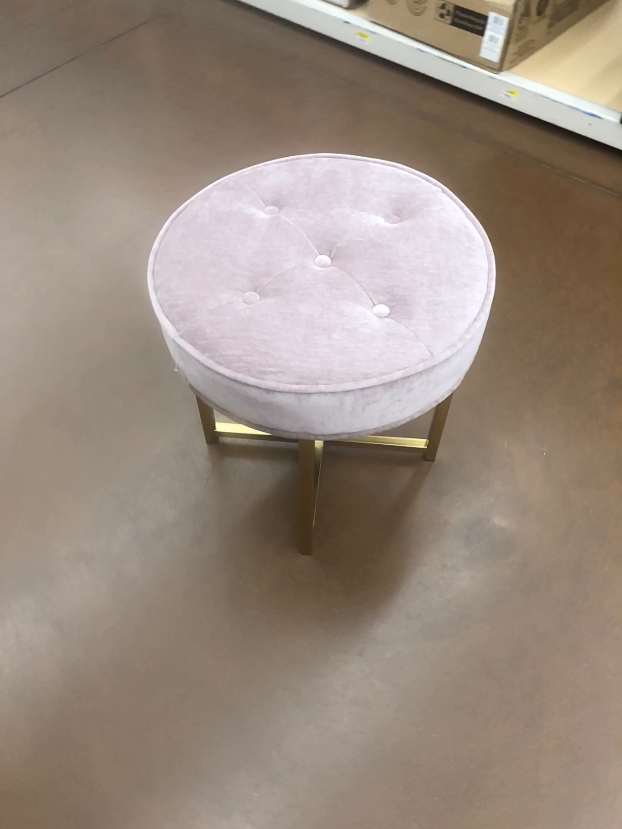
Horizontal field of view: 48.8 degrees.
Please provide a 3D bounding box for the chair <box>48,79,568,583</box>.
[{"bbox_3d":[-0.005,-0.136,1.014,0.470,0.389,0.451,-36,61,-22],"label":"chair"}]
